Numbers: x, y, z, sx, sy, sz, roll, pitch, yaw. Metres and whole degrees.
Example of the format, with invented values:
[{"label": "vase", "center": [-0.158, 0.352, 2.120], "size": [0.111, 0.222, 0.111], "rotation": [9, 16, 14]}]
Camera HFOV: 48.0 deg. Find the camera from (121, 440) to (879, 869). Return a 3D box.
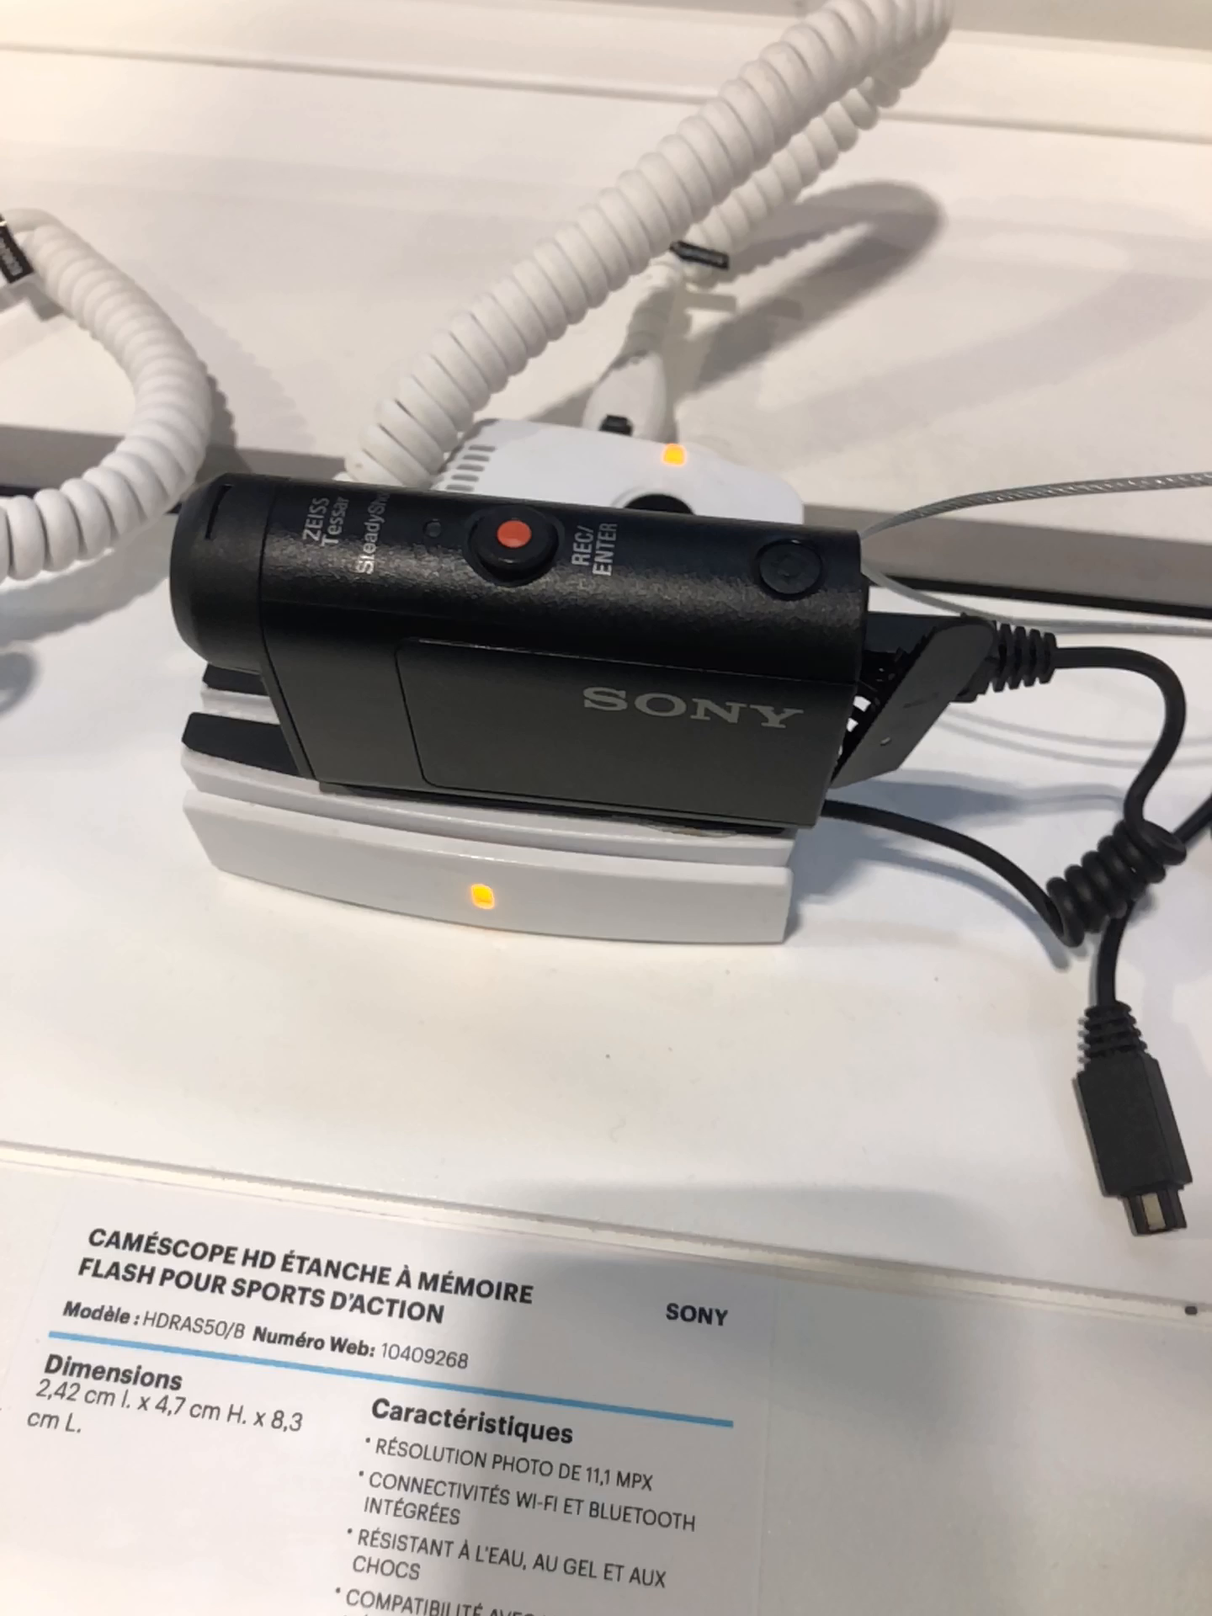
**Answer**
[{"label": "camera", "center": [-0.011, -0.017, 0.167], "size": [0.080, 0.045, 0.020], "rotation": [7, 58, 4]}]
